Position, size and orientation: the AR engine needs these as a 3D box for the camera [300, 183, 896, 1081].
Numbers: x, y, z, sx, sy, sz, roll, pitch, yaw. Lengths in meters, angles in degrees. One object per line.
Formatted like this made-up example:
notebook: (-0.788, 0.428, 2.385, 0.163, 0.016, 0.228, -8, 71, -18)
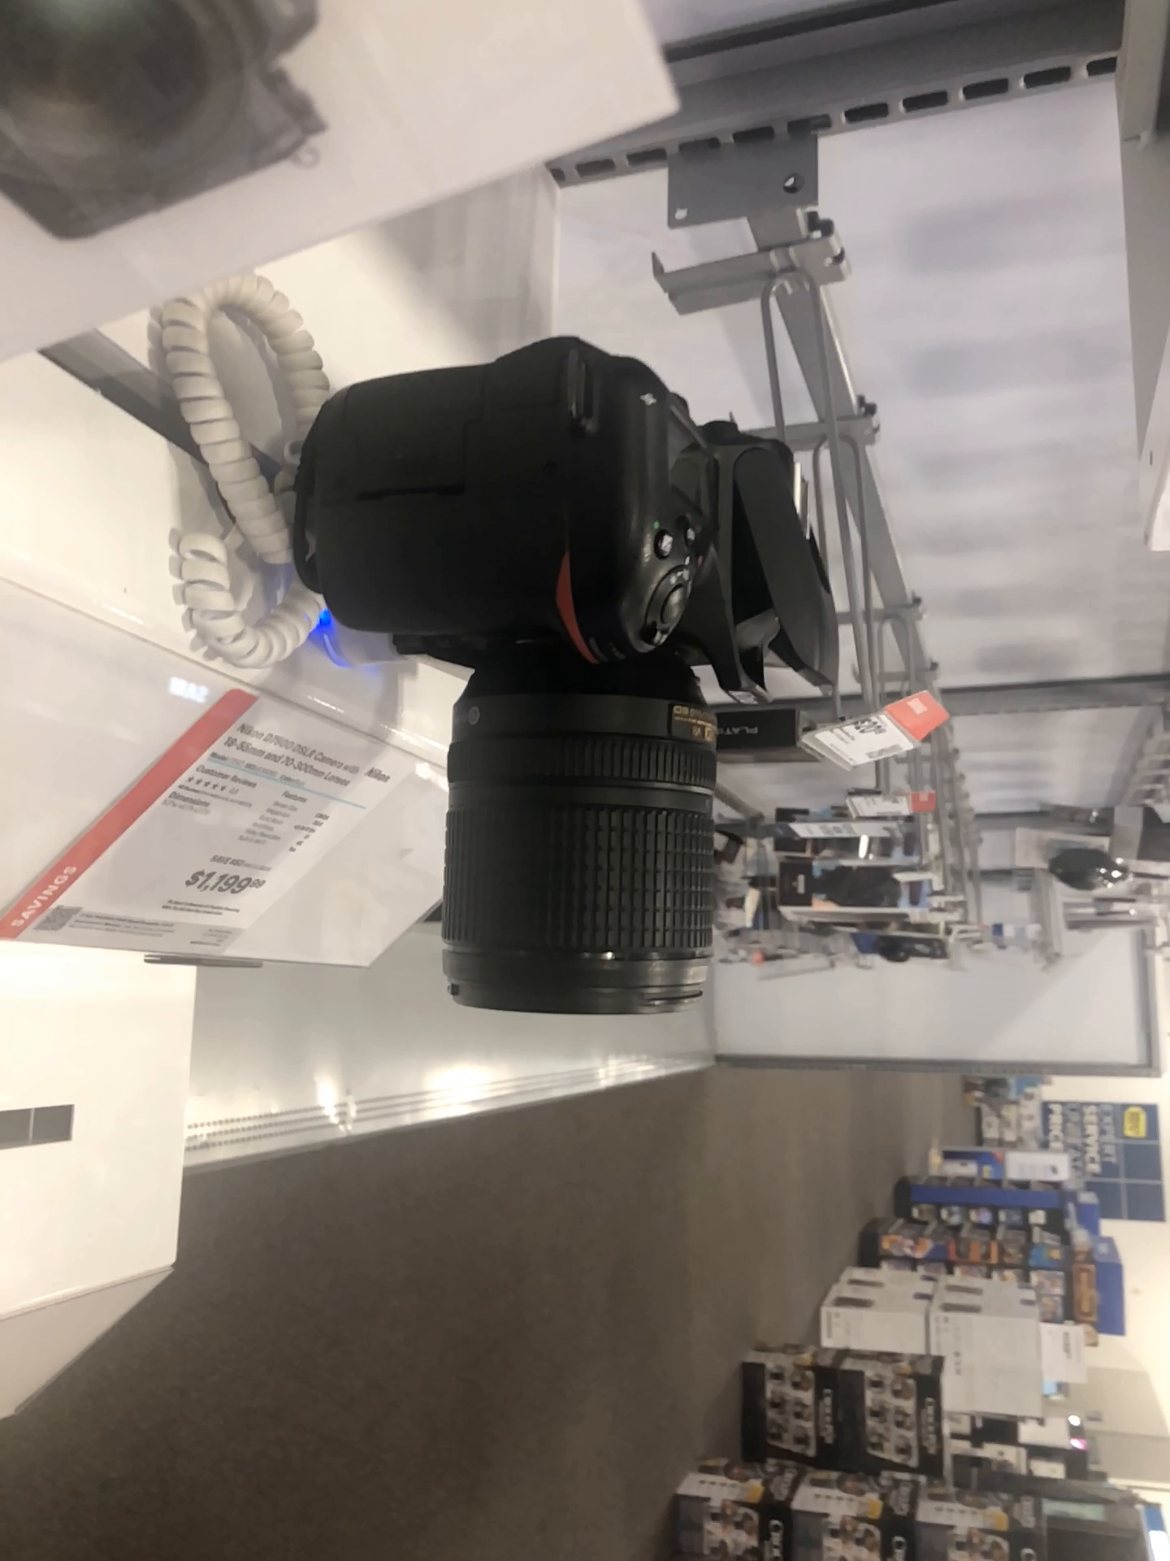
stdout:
camera: (0.014, -0.024, 0.358, 0.151, 0.119, 0.190, 17, 71, -71)
